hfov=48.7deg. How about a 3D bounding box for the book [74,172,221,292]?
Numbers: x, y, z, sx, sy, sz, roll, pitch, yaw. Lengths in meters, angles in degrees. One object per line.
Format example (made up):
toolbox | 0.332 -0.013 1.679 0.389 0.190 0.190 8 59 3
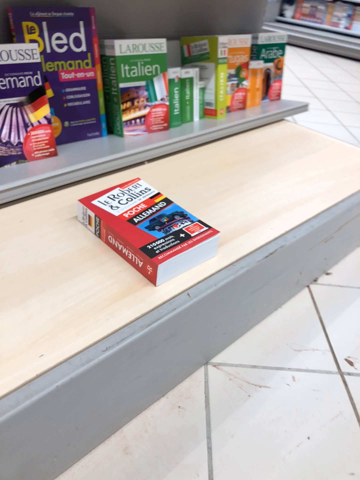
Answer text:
book | -0.047 -0.020 0.537 0.111 0.050 0.170 -27 49 -35
